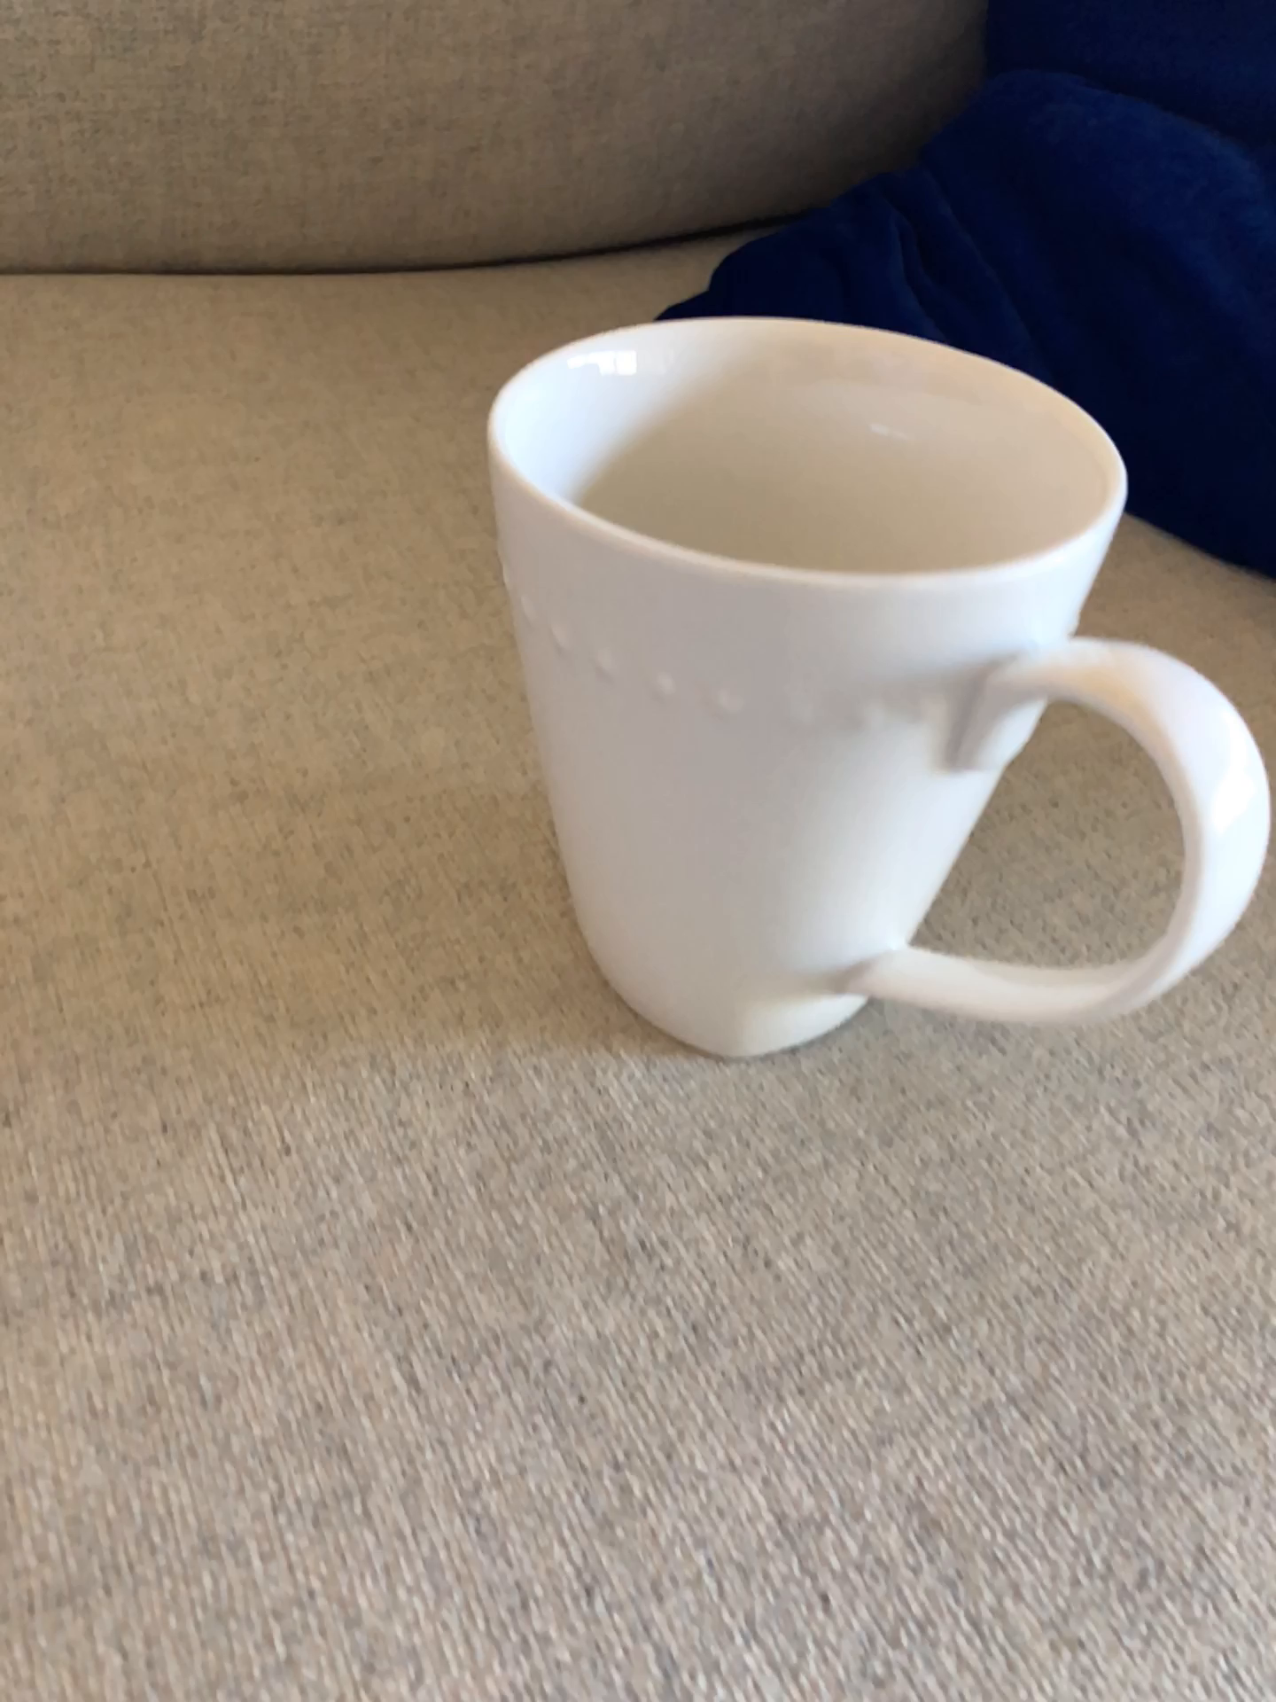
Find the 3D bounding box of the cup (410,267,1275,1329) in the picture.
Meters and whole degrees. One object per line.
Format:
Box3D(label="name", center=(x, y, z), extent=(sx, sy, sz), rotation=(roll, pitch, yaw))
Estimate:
Box3D(label="cup", center=(0.037, -0.020, 0.231), extent=(0.100, 0.090, 0.130), rotation=(-17, 48, -27))
